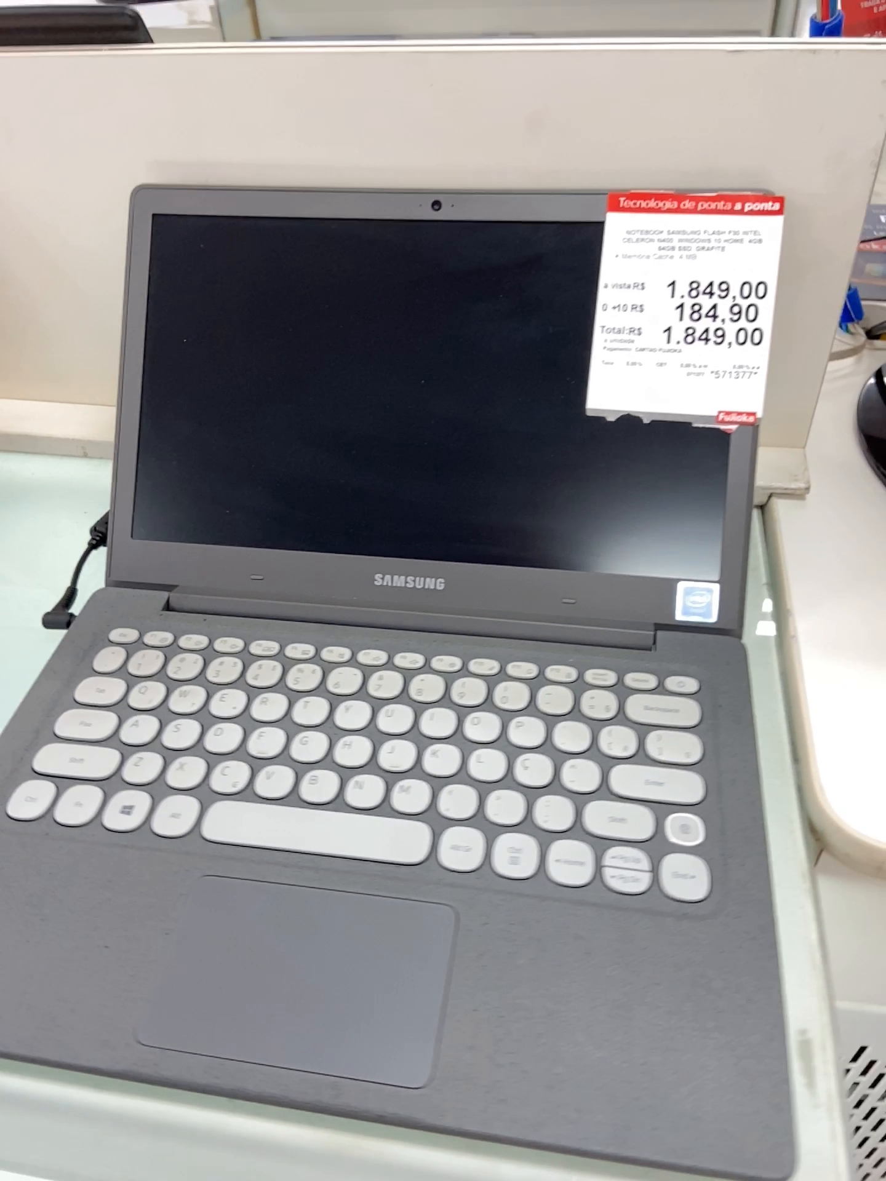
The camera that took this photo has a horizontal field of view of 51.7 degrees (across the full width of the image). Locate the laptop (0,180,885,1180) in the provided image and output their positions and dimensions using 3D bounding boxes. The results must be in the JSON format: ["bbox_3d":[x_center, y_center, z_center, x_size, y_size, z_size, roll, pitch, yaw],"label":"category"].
[{"bbox_3d":[-0.029,-0.020,0.370,0.319,0.144,0.366,4,45,9],"label":"laptop"}]
